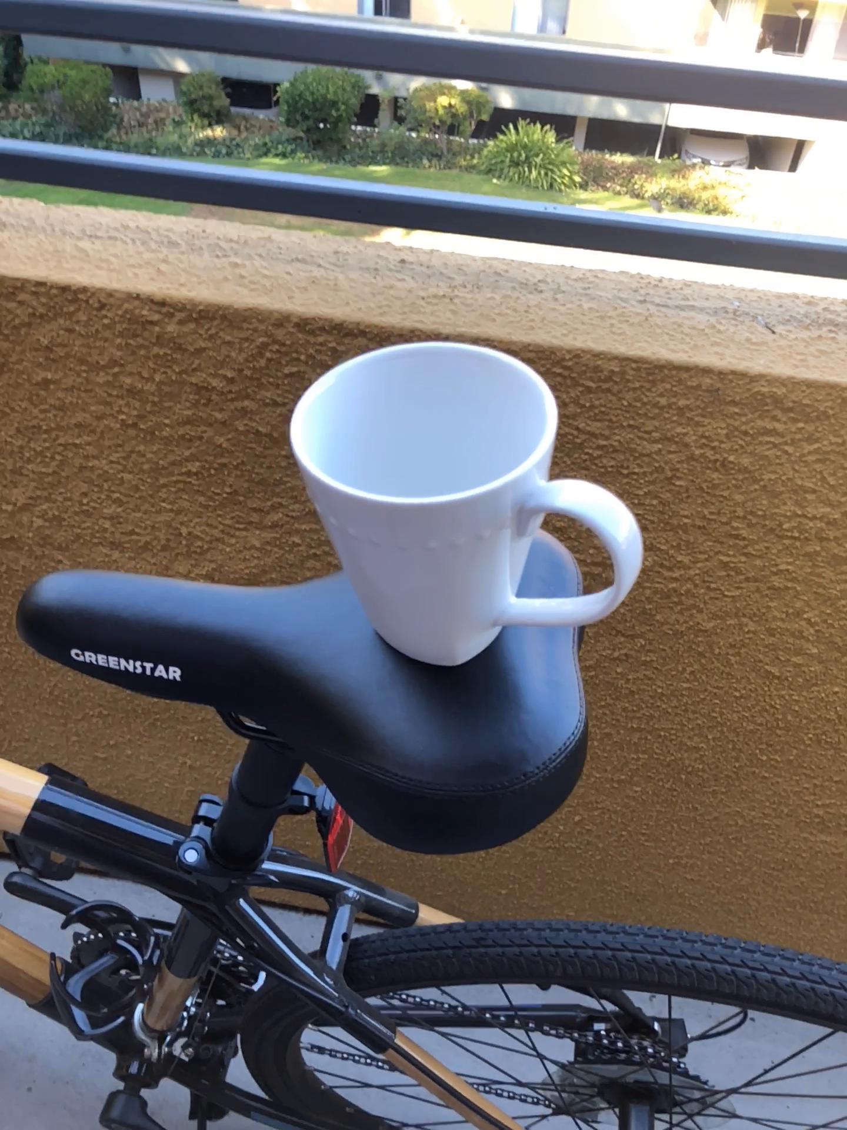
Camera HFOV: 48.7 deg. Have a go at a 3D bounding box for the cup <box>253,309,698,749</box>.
[{"bbox_3d":[0.018,-0.018,0.360,0.130,0.100,0.090,21,45,18],"label":"cup"}]
